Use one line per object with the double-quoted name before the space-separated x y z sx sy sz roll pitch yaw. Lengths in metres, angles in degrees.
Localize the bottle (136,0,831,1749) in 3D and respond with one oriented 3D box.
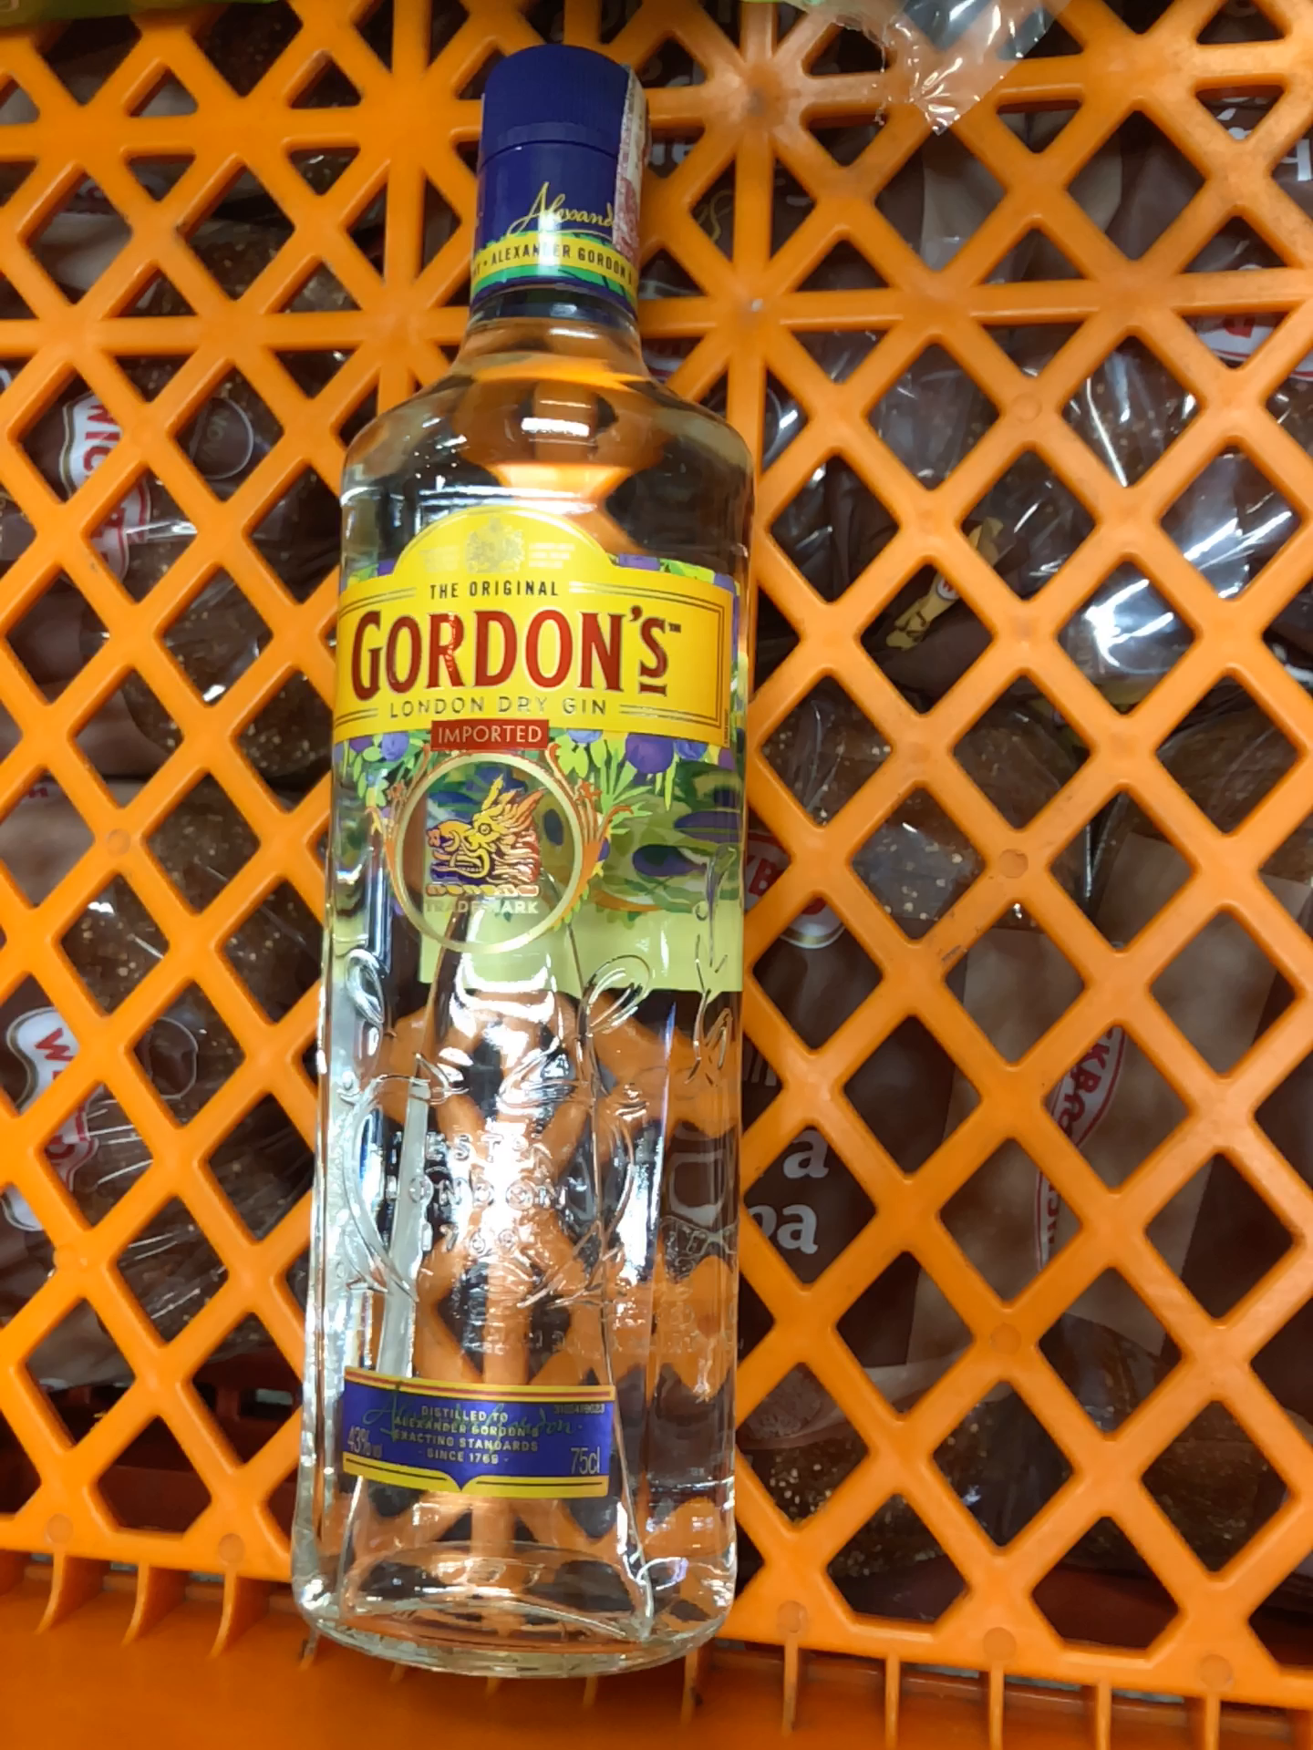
"bottle" -0.021 -0.022 0.277 0.100 0.100 0.310 1 88 7
